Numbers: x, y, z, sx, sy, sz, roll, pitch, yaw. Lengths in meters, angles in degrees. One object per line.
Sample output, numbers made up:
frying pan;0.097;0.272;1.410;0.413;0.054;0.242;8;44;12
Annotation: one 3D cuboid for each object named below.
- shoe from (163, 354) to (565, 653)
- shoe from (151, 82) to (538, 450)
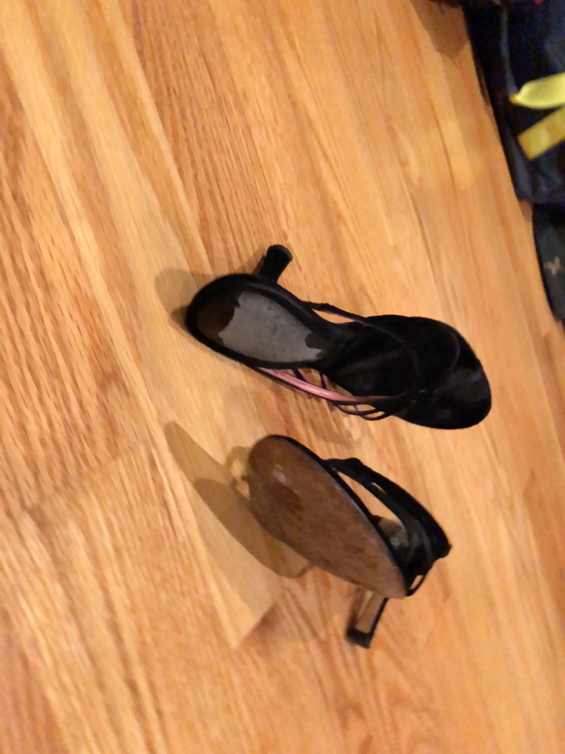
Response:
shoe;0.059;0.083;0.322;0.216;0.104;0.102;29;56;-48
shoe;0.055;-0.033;0.354;0.236;0.104;0.082;30;57;-48
